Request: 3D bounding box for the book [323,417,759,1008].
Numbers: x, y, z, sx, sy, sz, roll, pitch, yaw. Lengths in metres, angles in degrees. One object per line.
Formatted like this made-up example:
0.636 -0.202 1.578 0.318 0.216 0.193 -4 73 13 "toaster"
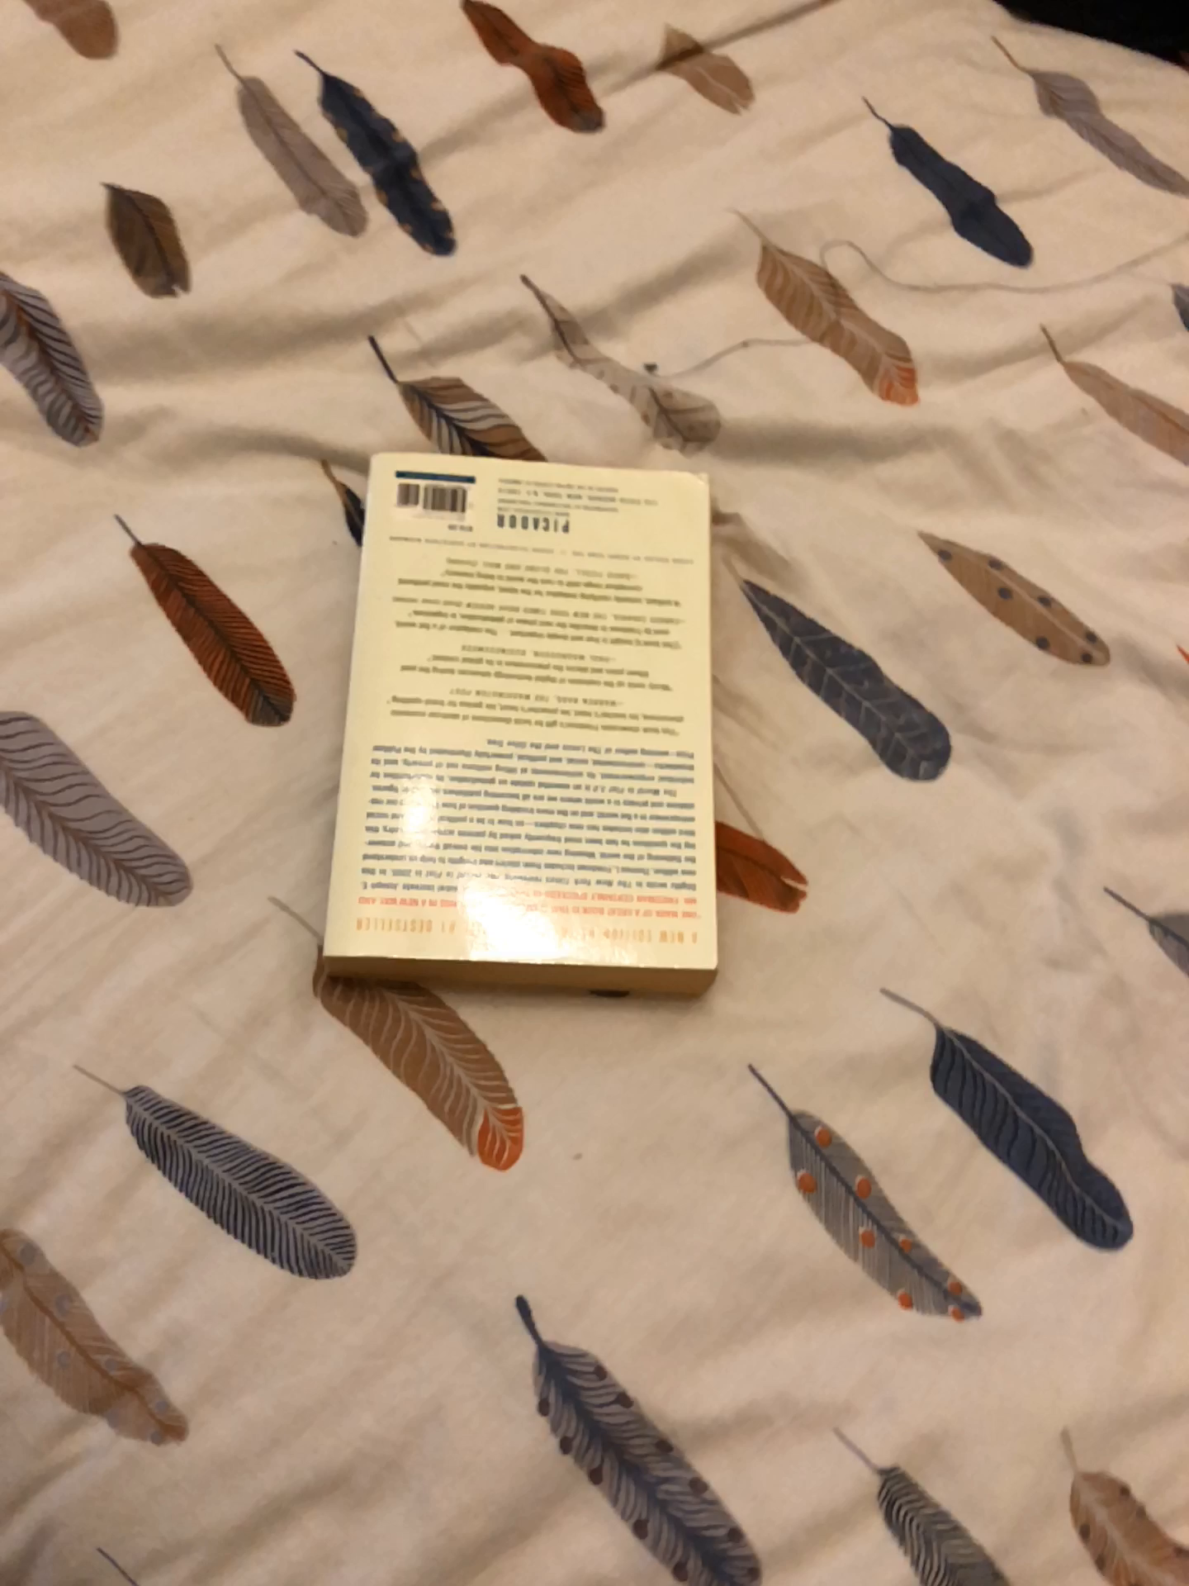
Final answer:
-0.021 -0.032 0.504 0.150 0.040 0.220 3 70 -10 "book"
